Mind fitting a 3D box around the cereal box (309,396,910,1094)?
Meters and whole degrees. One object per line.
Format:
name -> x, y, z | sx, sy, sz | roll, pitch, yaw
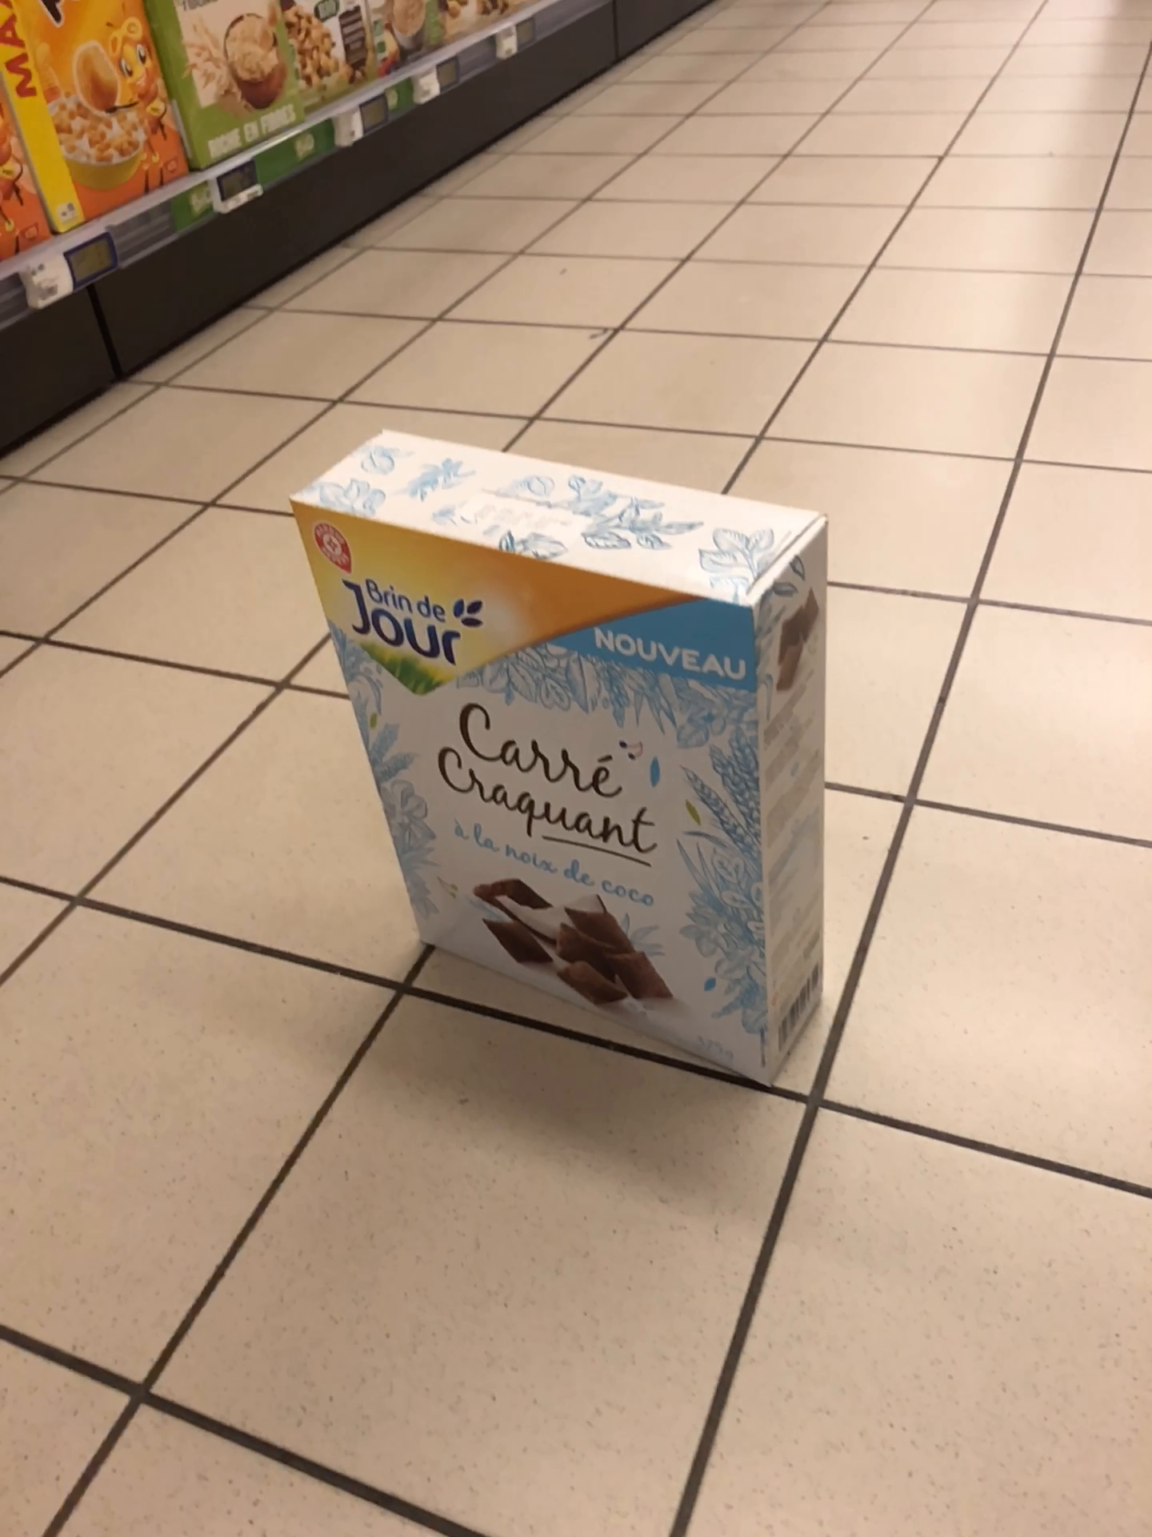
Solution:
cereal box -> 0.016, -0.007, 0.511 | 0.200, 0.239, 0.070 | 19, 46, 27
